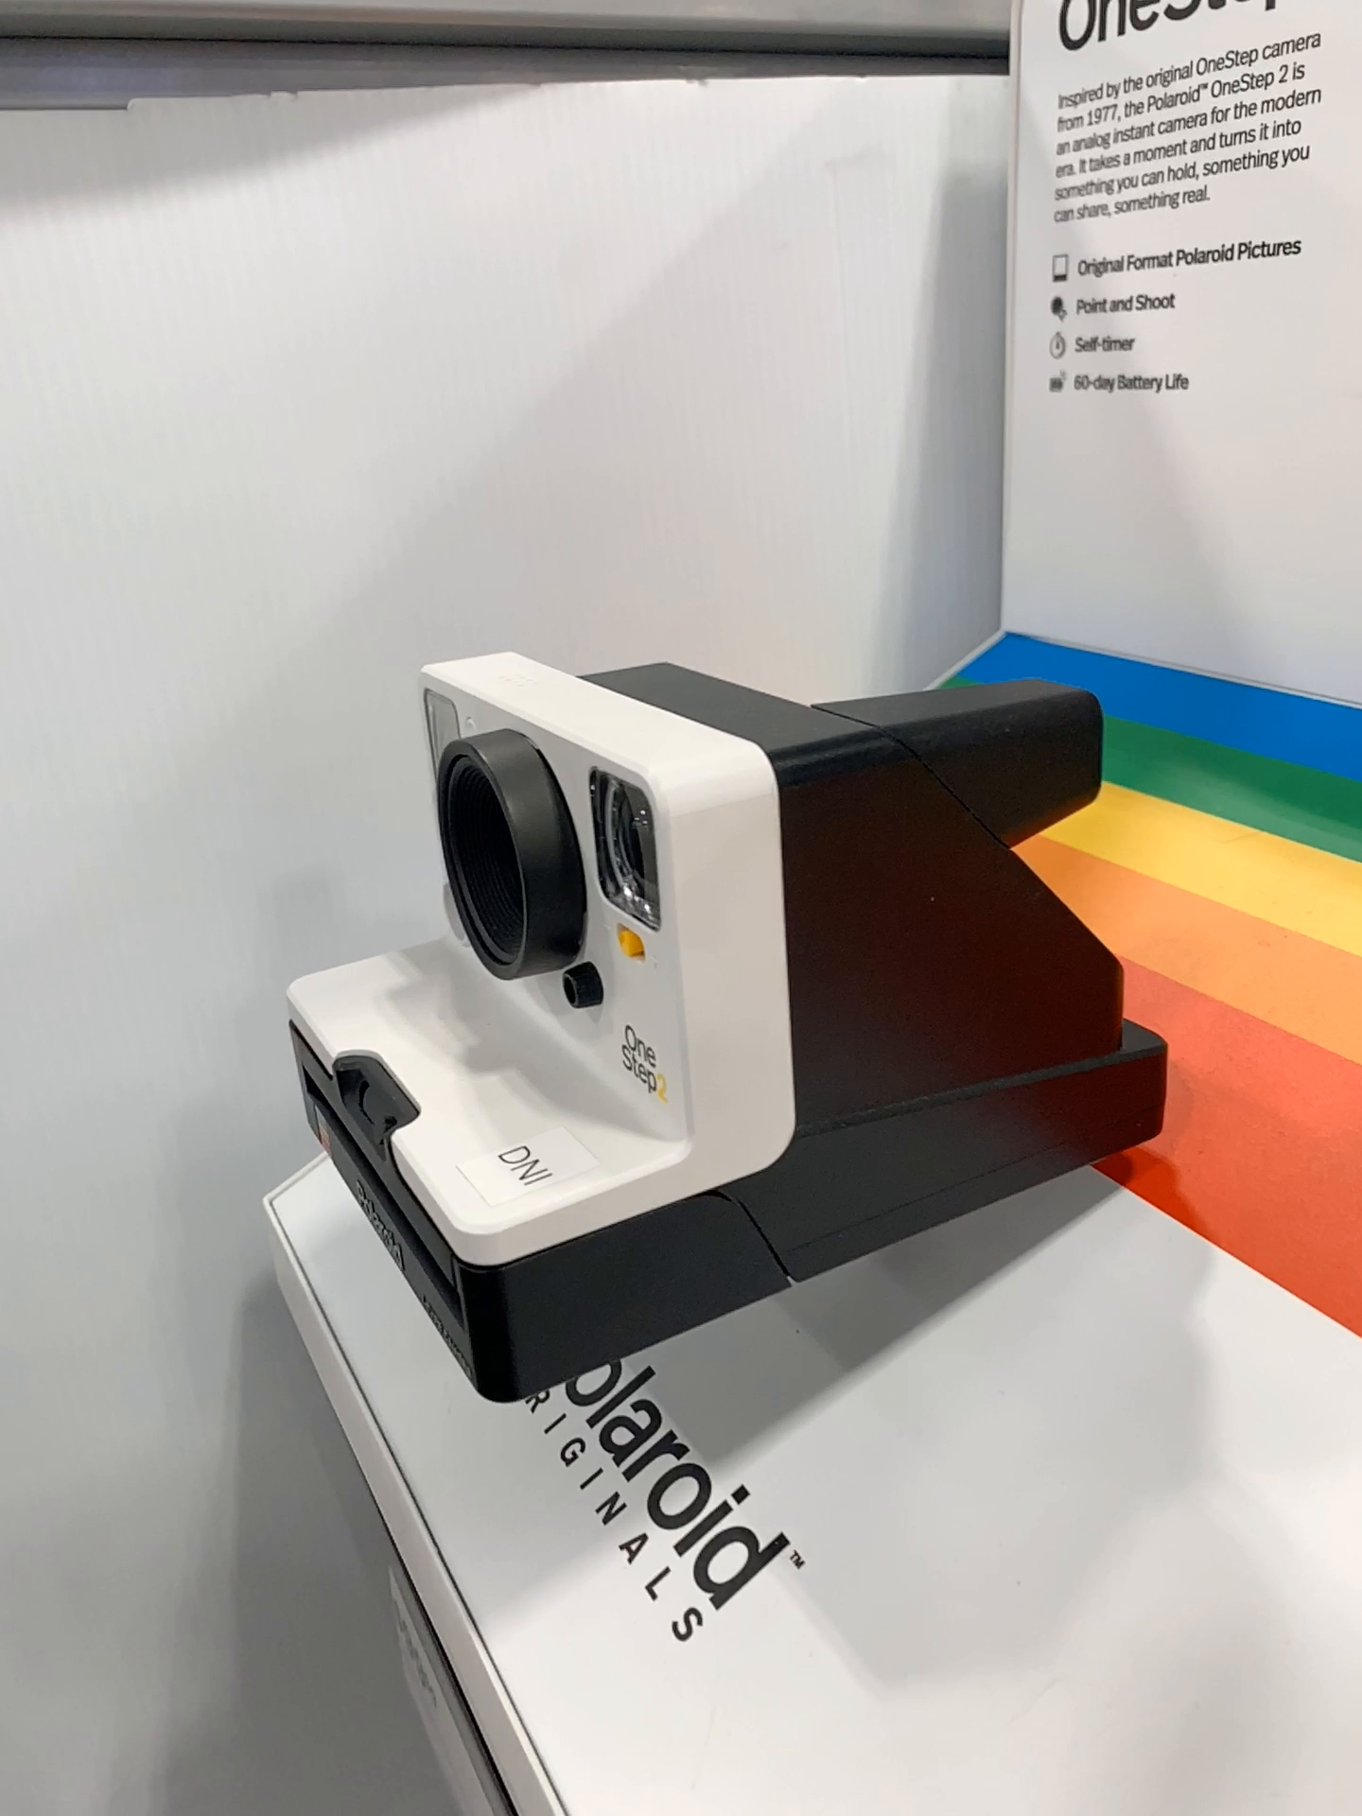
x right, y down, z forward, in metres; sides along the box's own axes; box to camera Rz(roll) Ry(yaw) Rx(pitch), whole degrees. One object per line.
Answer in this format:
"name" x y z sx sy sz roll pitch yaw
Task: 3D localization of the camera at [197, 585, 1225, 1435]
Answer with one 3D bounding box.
"camera" 0.001 0.000 0.271 0.144 0.090 0.121 -15 24 -25
